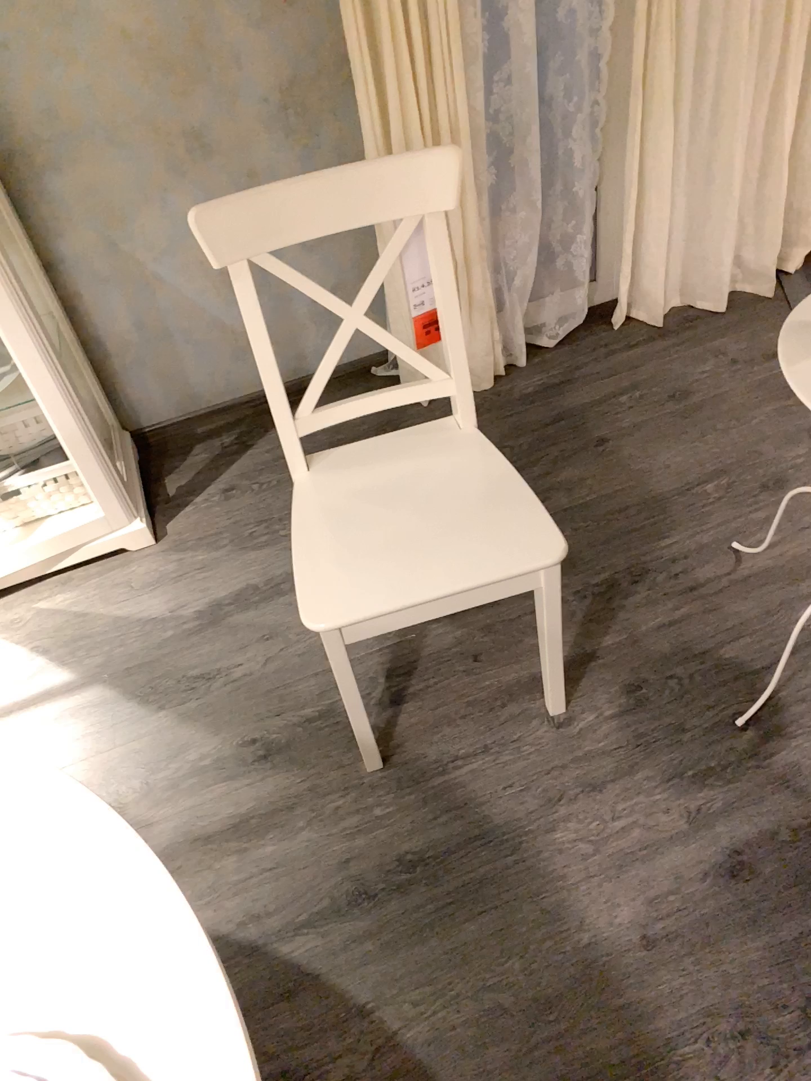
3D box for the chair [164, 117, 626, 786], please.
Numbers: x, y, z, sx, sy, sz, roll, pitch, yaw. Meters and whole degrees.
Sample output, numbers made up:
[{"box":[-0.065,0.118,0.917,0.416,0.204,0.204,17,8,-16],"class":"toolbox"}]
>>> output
[{"box":[-0.005,-0.107,1.309,0.450,0.807,0.542,-17,46,-5],"class":"chair"}]
